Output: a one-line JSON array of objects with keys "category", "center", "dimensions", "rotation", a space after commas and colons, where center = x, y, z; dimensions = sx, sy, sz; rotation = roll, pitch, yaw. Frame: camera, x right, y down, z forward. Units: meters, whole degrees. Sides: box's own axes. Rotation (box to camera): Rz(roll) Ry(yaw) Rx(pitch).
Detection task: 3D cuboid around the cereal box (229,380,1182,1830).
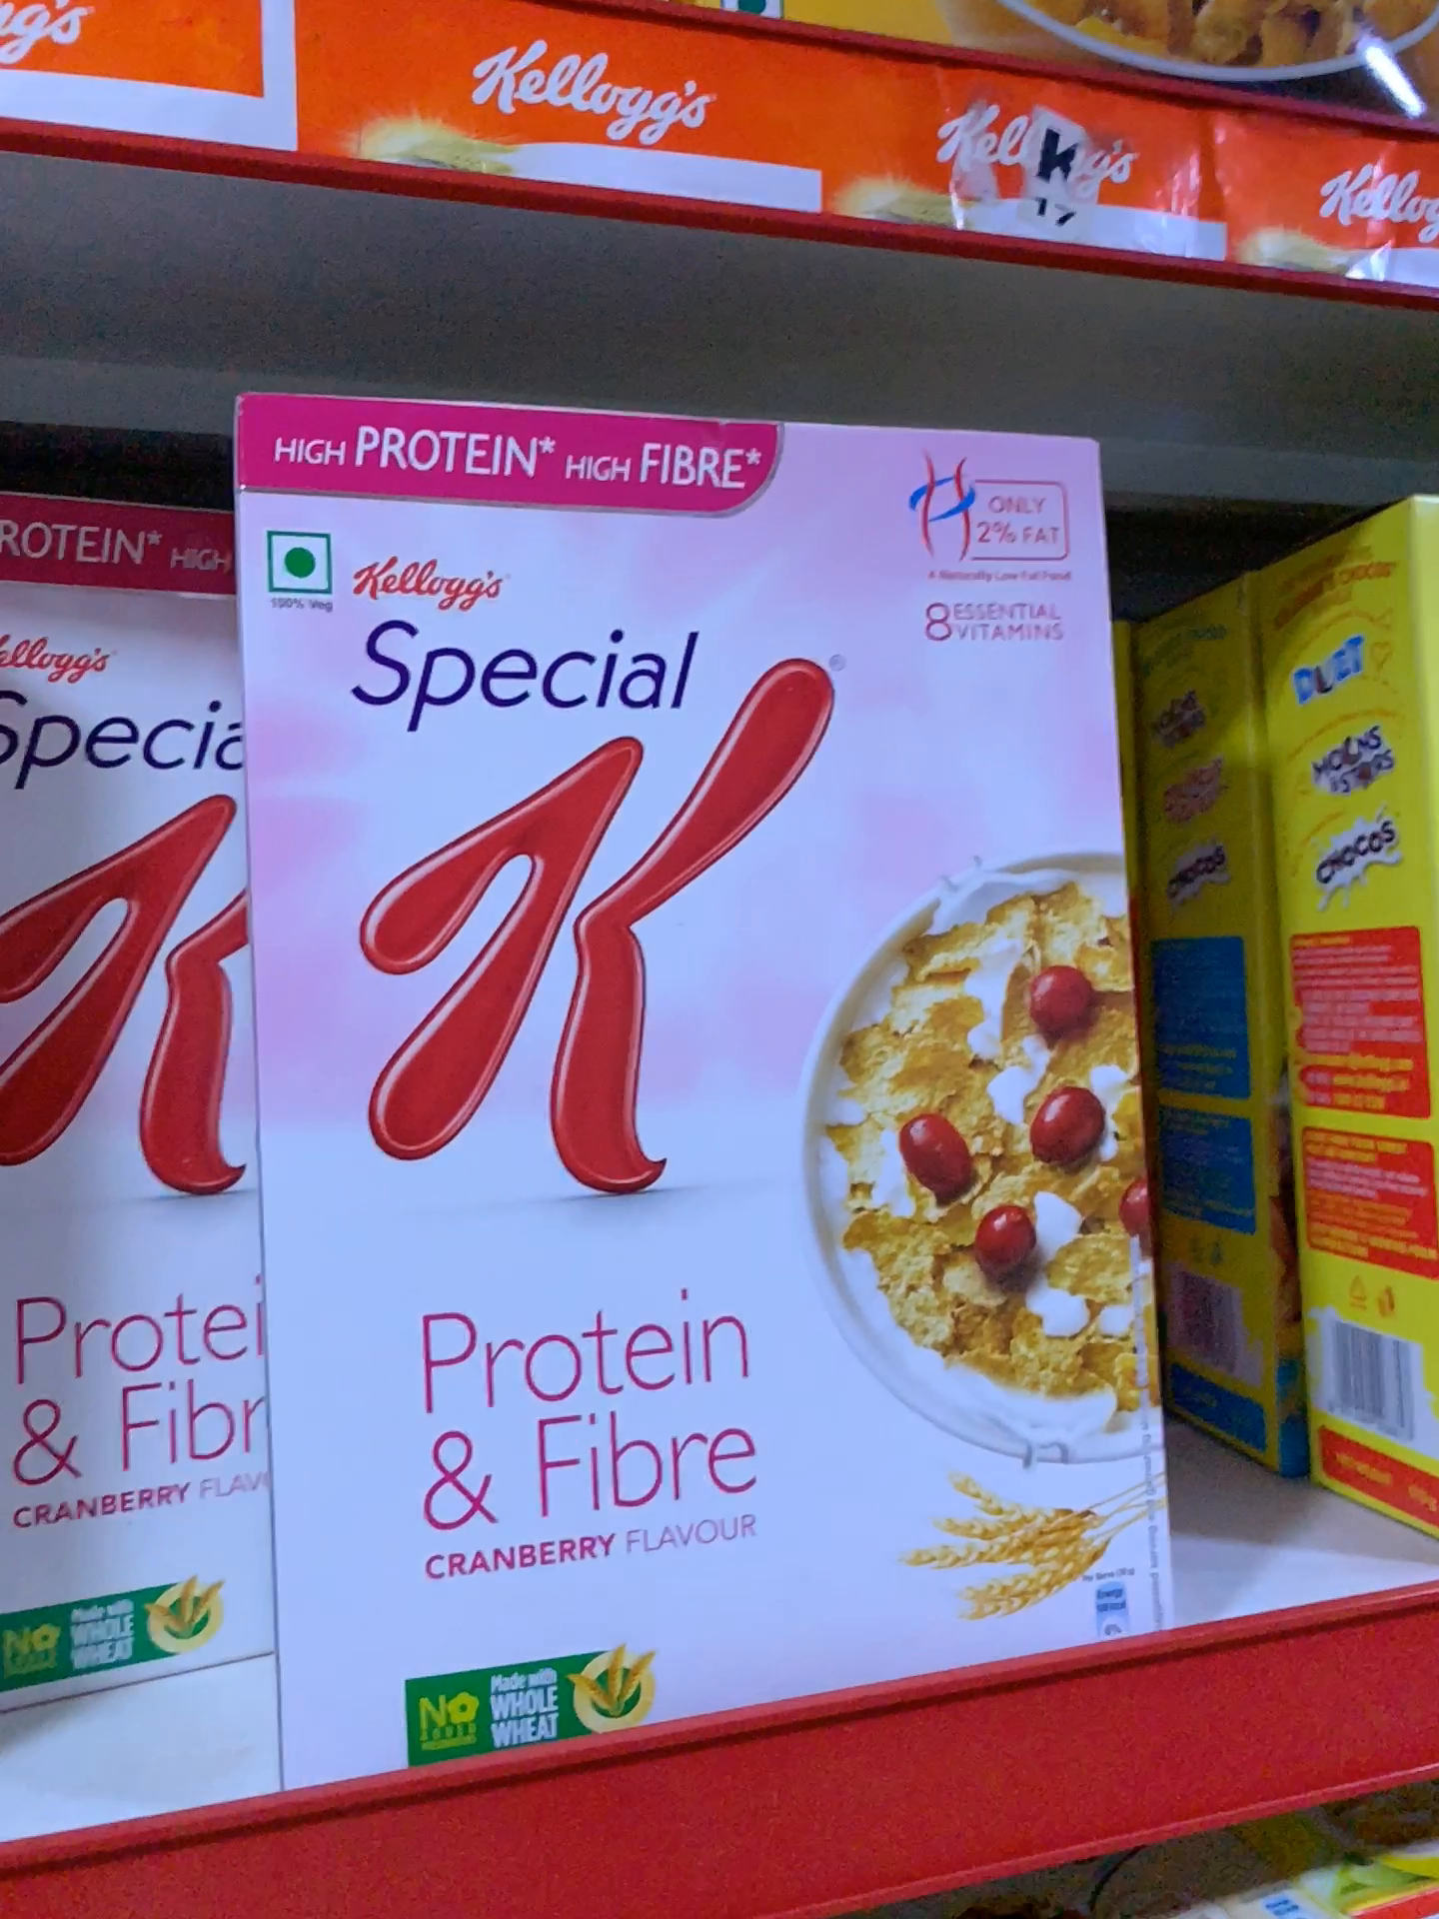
[{"category": "cereal box", "center": [-0.005, 0.020, 0.301], "dimensions": [0.170, 0.240, 0.060], "rotation": [-2, -2, -16]}]
